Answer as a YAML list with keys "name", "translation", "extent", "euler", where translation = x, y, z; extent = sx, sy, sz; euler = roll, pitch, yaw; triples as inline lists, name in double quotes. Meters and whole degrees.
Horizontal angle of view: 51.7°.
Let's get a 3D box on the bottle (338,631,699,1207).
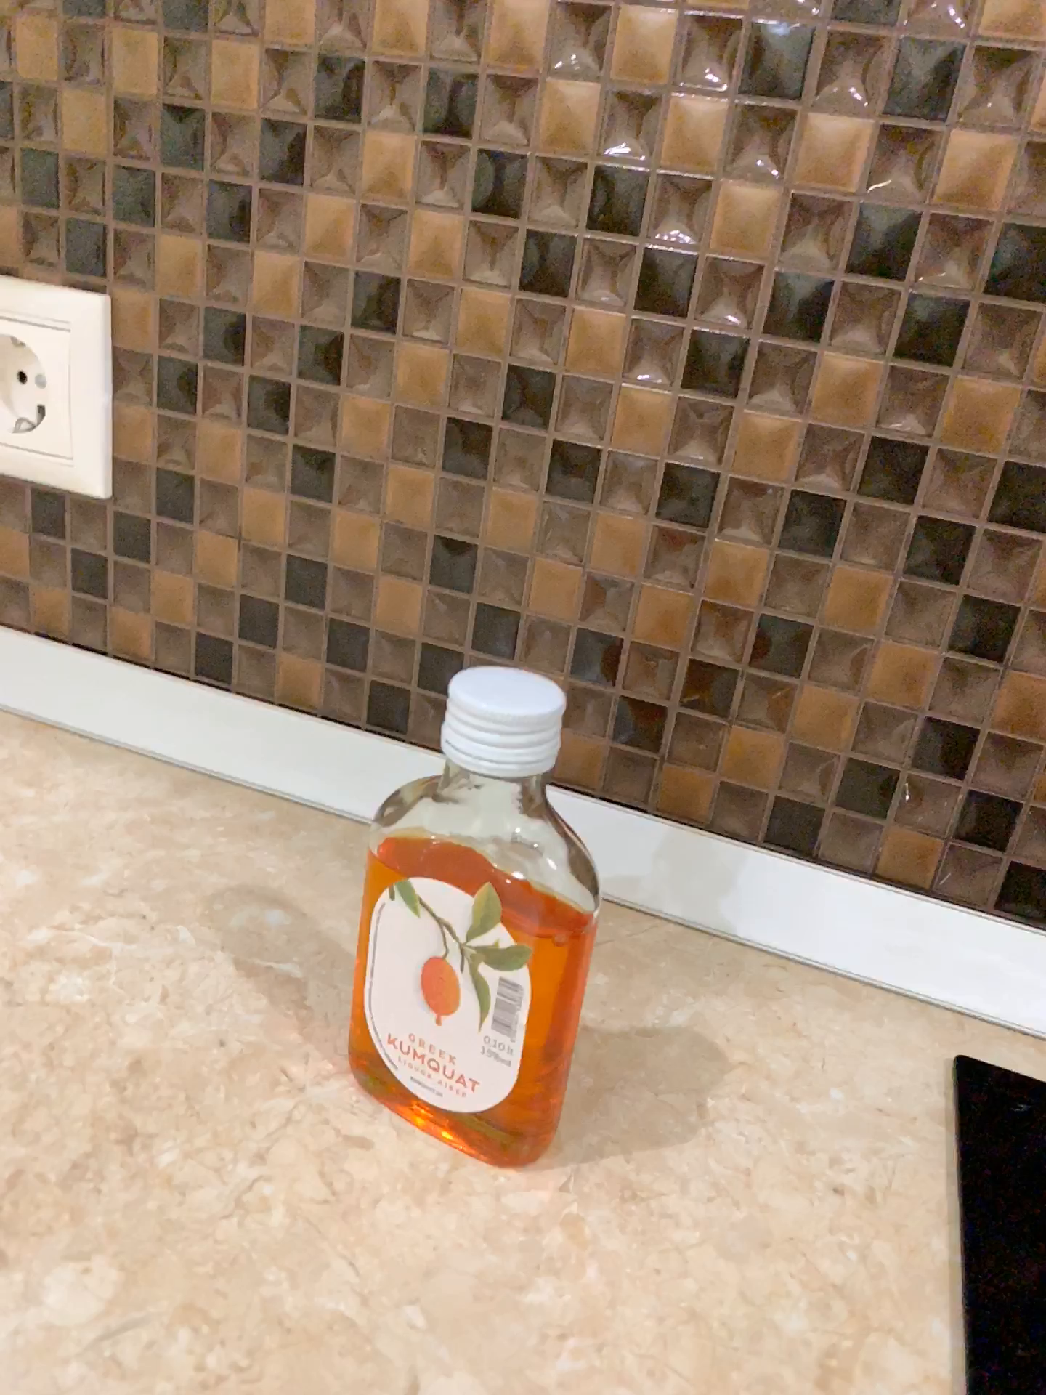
- name: "bottle"
  translation: [-0.005, 0.059, 0.295]
  extent: [0.070, 0.133, 0.040]
  euler: [20, 25, 26]
